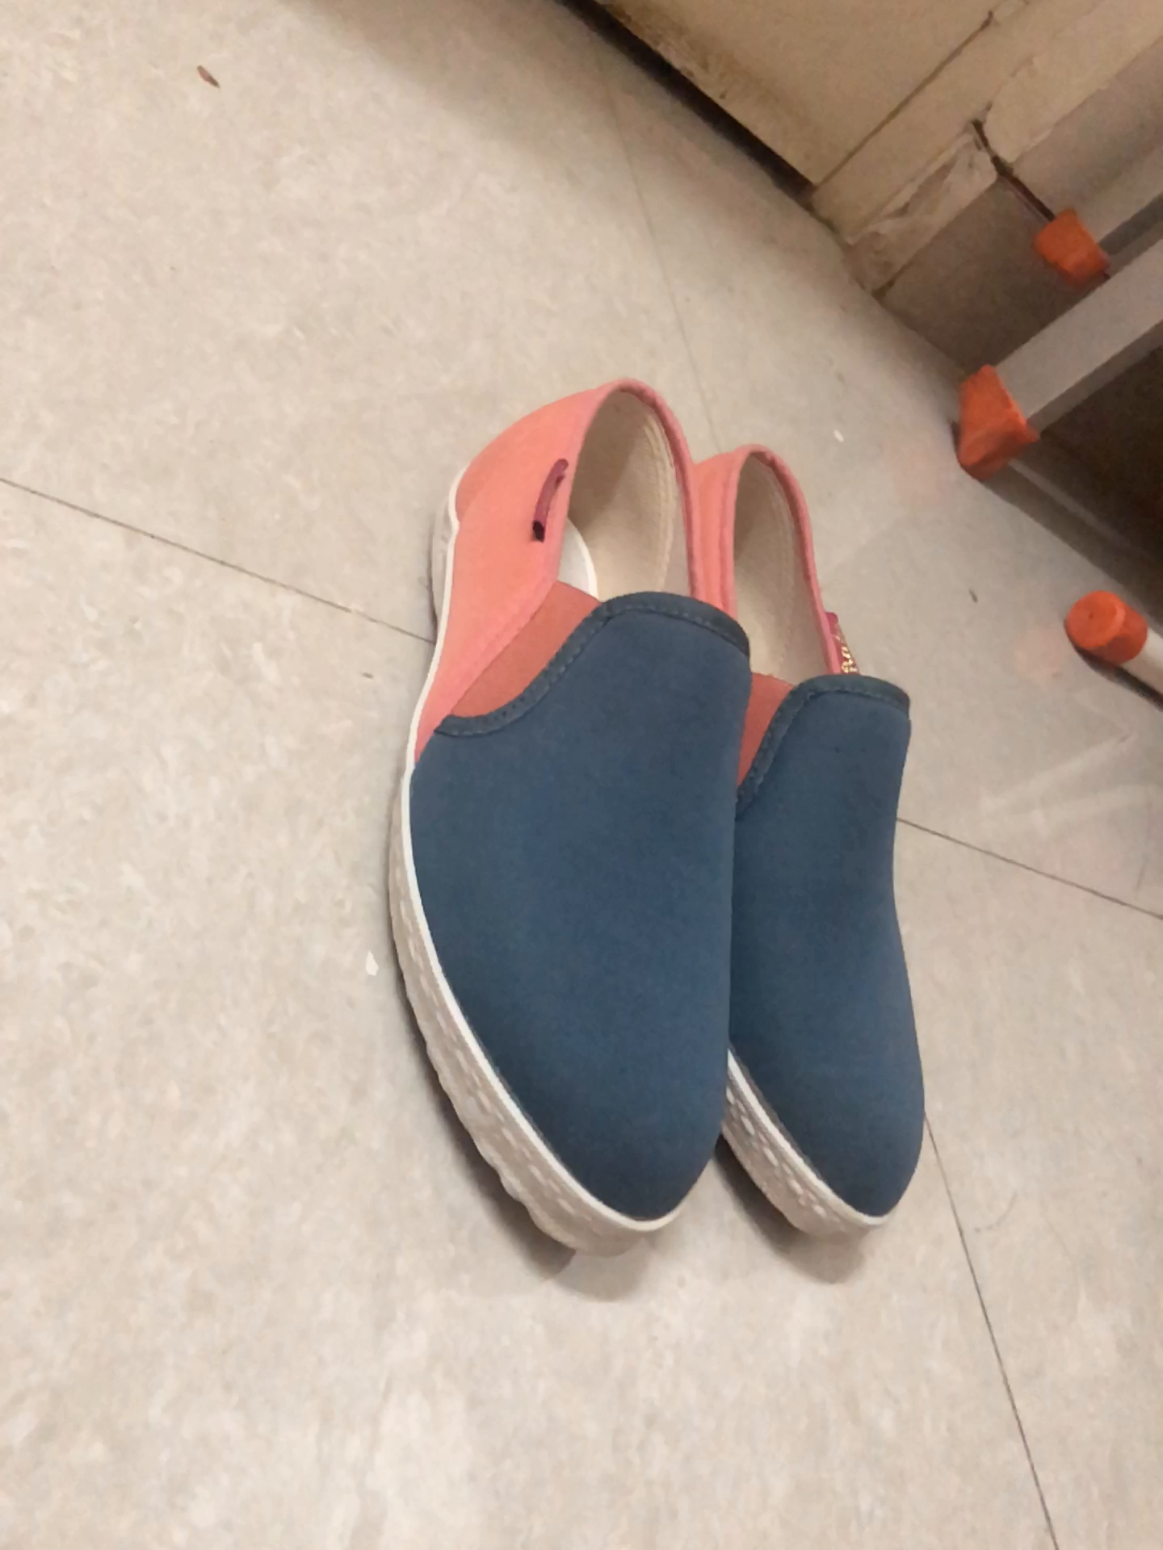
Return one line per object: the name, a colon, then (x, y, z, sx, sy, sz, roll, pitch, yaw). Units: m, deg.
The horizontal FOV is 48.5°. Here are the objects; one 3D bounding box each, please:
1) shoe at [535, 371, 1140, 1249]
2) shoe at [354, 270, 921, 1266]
shoe: (0.059, 0.005, 0.349, 0.090, 0.060, 0.221, 17, 49, -40)
shoe: (0.002, -0.009, 0.307, 0.090, 0.060, 0.221, 23, 45, -36)
